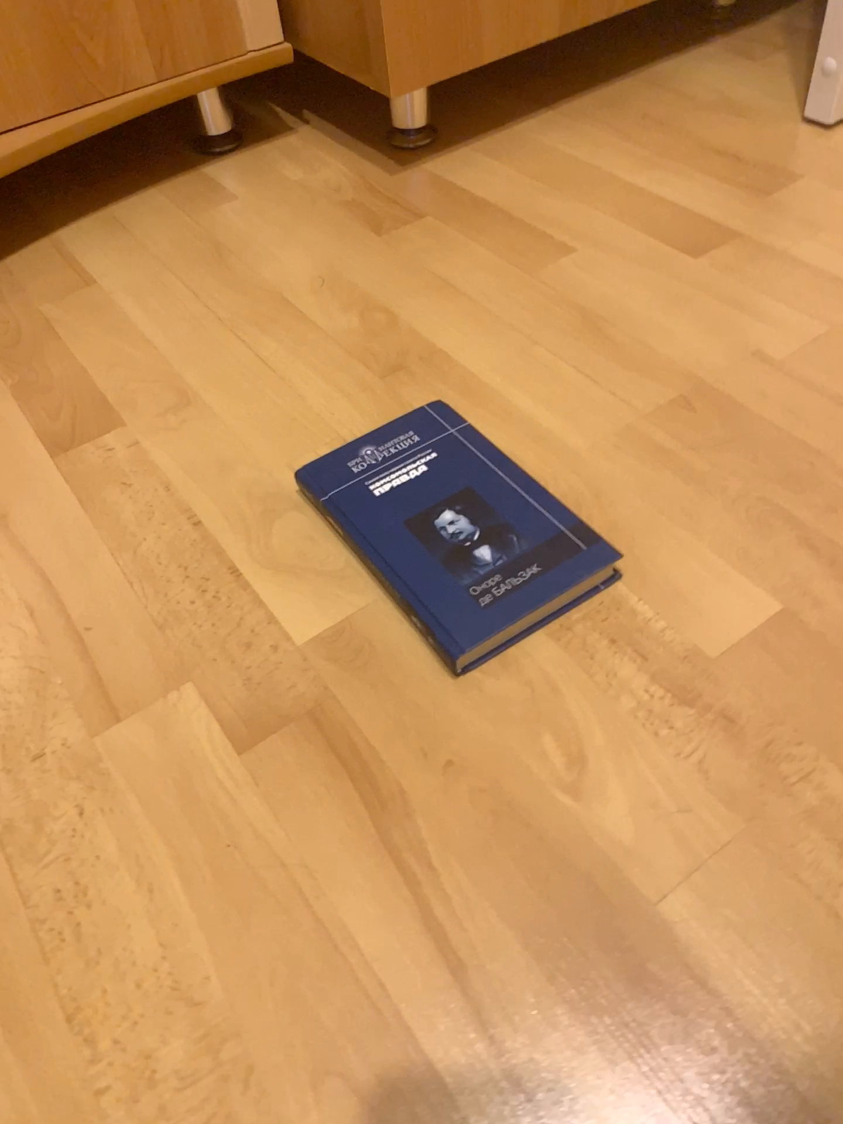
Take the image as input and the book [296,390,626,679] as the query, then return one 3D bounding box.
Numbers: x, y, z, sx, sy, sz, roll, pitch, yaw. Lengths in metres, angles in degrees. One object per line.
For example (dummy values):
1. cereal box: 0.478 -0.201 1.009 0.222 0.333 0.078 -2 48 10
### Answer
1. book: 0.020 -0.030 0.584 0.128 0.030 0.201 -30 53 -18
